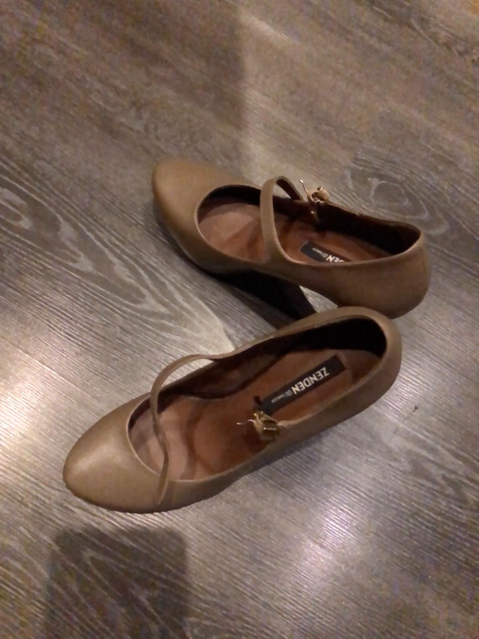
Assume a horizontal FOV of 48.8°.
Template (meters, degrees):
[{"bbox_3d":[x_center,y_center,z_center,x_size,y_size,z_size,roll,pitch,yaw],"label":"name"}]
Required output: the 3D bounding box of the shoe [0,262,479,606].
[{"bbox_3d":[-0.004,0.063,0.314,0.210,0.150,0.090,-18,76,-12],"label":"shoe"}]

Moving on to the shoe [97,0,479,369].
[{"bbox_3d":[0.026,-0.077,0.361,0.210,0.150,0.090,35,73,4],"label":"shoe"}]
